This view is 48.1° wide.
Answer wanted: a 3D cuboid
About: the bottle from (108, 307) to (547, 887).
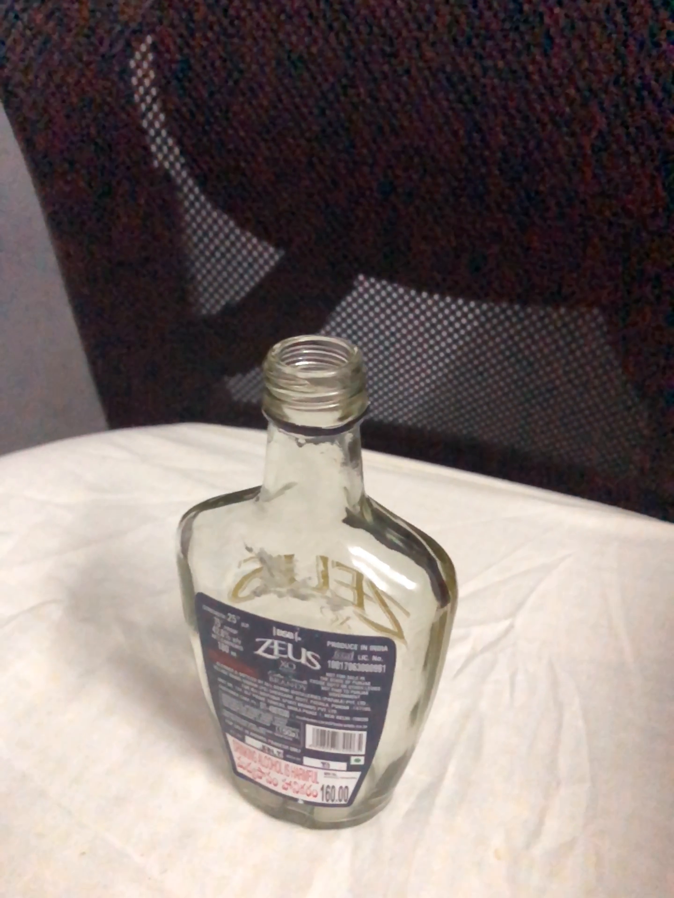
[{"bbox_3d":[-0.002,0.049,0.219,0.090,0.159,0.050,12,36,13],"label":"bottle"}]
